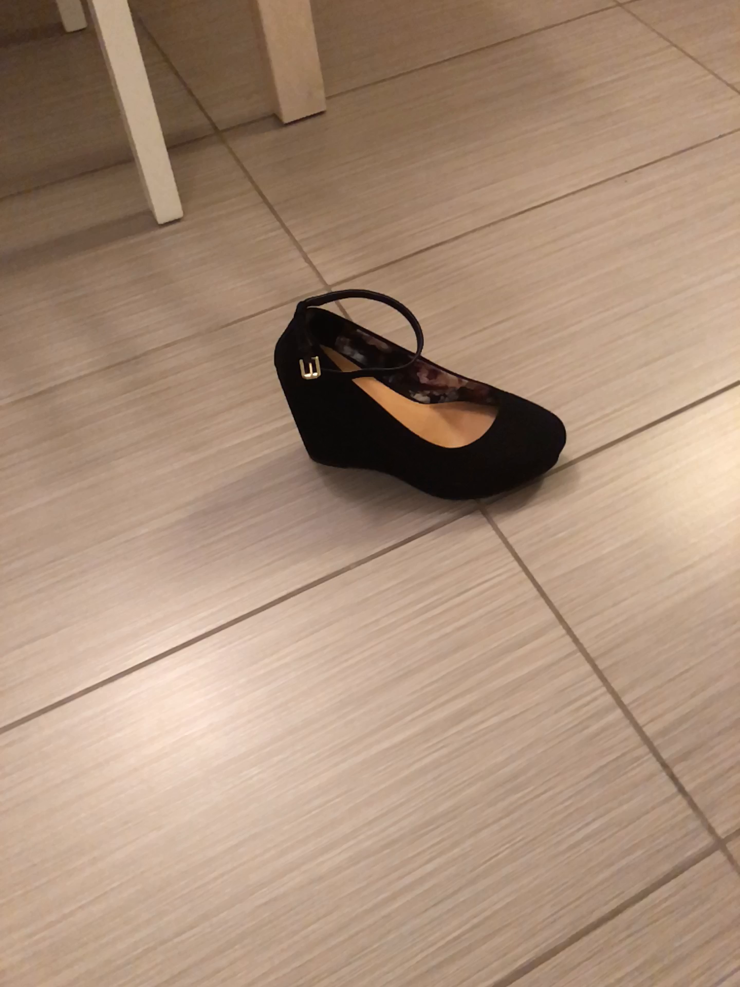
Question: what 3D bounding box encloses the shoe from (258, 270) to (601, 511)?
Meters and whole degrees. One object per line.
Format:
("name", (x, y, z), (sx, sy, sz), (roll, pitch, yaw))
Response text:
("shoe", (0.048, -0.080, 0.653), (0.240, 0.139, 0.100), (7, 57, 6))
